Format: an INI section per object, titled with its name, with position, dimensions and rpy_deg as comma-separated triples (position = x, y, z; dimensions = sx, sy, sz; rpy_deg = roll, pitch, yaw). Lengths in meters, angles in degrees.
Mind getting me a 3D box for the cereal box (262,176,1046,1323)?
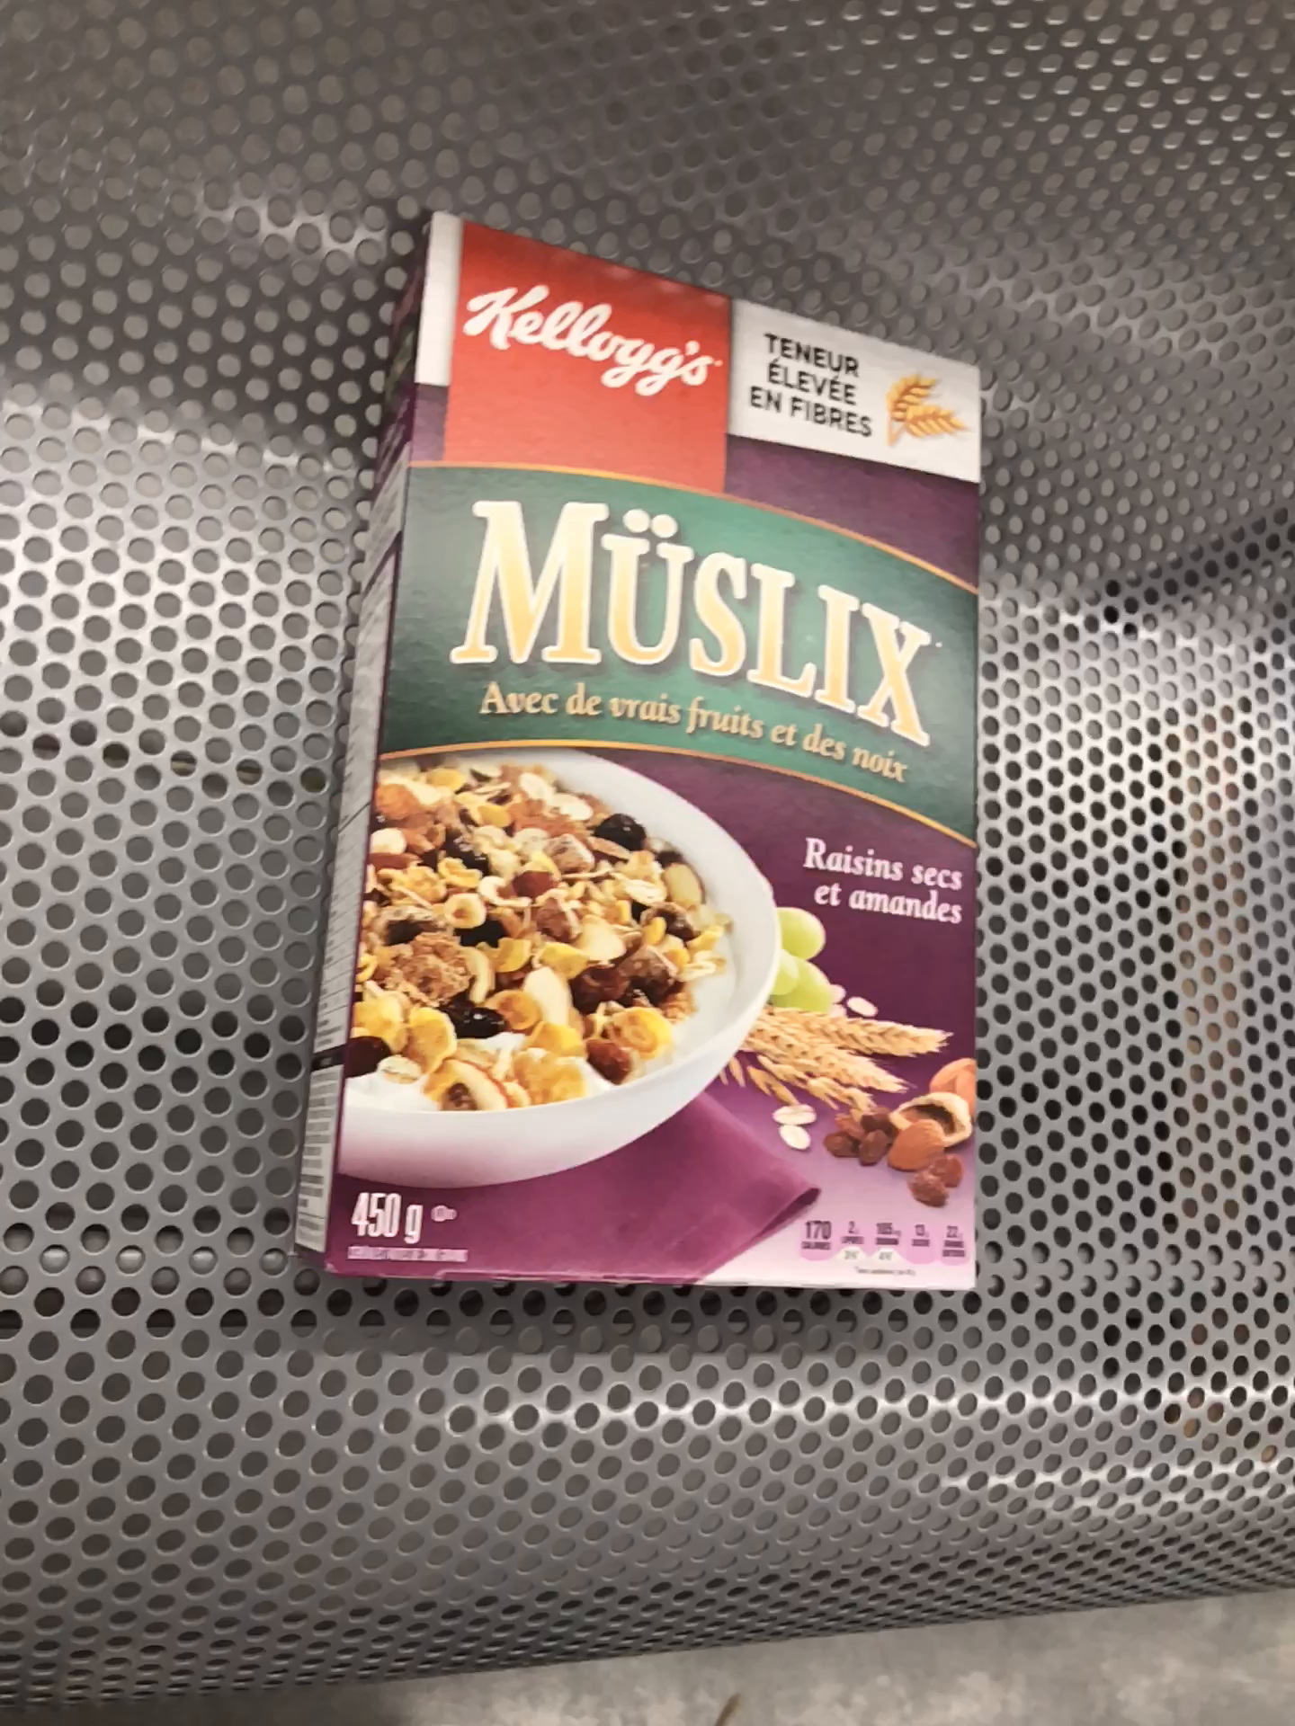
[cereal box]
position = 0.011, -0.022, 0.368
dimensions = 0.180, 0.050, 0.260
rpy_deg = 8, 76, -20
